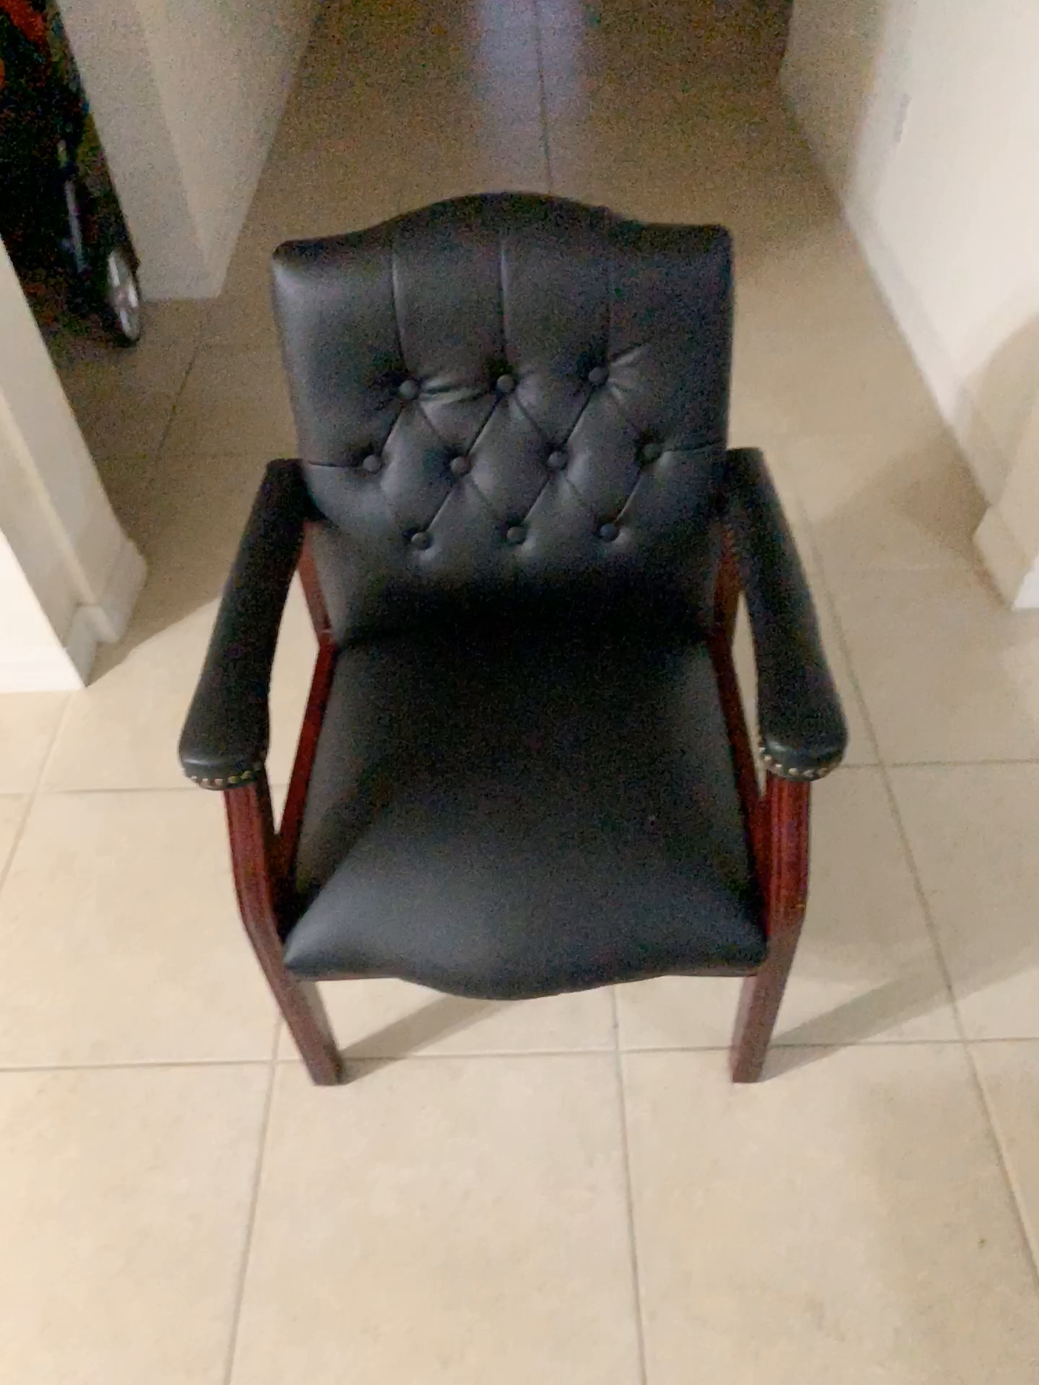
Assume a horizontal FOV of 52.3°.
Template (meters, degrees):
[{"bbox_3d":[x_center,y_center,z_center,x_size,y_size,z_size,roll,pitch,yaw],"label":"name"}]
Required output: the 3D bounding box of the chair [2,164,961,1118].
[{"bbox_3d":[-0.014,-0.009,1.253,0.631,0.907,0.661,-2,47,1],"label":"chair"}]
